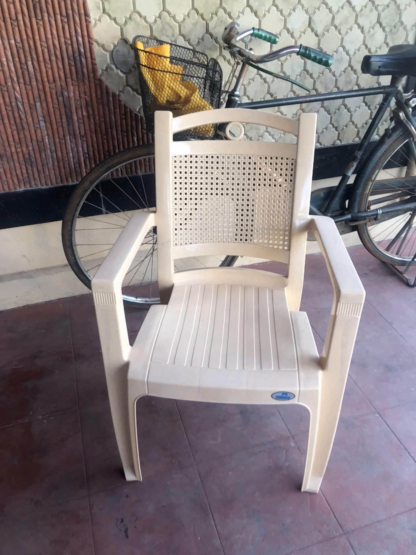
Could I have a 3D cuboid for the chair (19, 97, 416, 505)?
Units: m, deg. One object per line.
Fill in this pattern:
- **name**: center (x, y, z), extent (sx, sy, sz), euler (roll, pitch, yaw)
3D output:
- **chair**: center (0.038, 0.052, 1.134), extent (0.590, 0.826, 0.553), euler (2, 35, 5)
